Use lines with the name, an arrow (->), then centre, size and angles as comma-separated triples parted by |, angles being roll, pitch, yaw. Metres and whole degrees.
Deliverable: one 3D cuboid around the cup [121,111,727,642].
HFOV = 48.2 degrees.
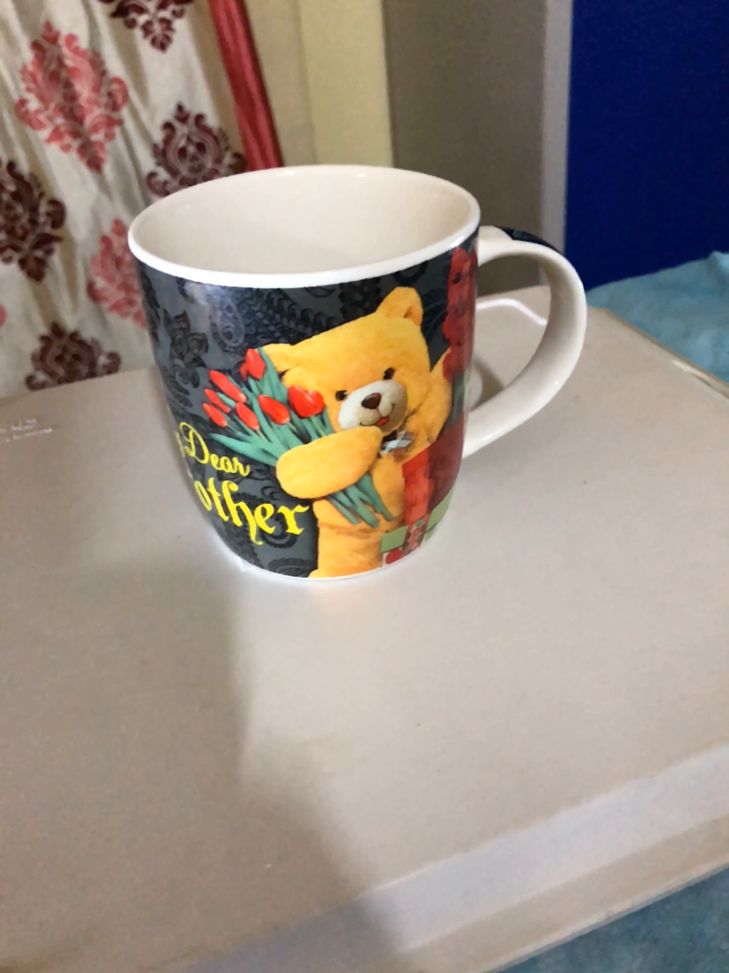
cup -> 0.012, -0.037, 0.228 | 0.130, 0.099, 0.080 | -13, 33, -11
